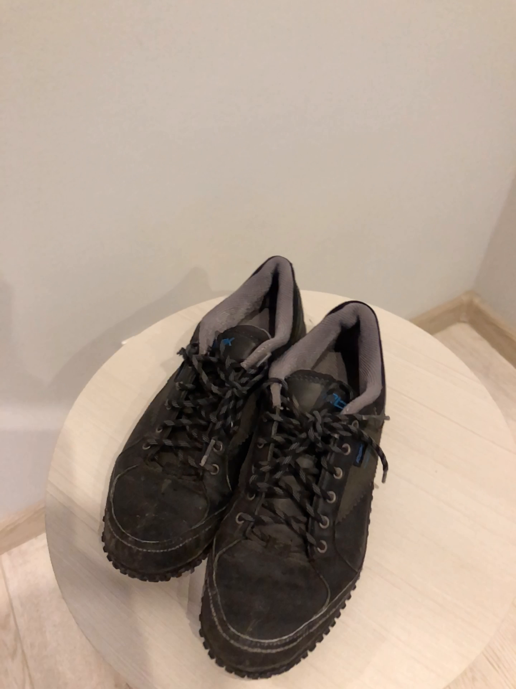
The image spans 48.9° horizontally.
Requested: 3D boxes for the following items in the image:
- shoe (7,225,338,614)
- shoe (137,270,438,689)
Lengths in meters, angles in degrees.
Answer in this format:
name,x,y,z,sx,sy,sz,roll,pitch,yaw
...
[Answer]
name,x,y,z,sx,sy,sz,roll,pitch,yaw
shoe,-0.041,0.038,0.441,0.110,0.099,0.271,19,52,17
shoe,0.038,0.083,0.401,0.110,0.099,0.272,16,51,15
